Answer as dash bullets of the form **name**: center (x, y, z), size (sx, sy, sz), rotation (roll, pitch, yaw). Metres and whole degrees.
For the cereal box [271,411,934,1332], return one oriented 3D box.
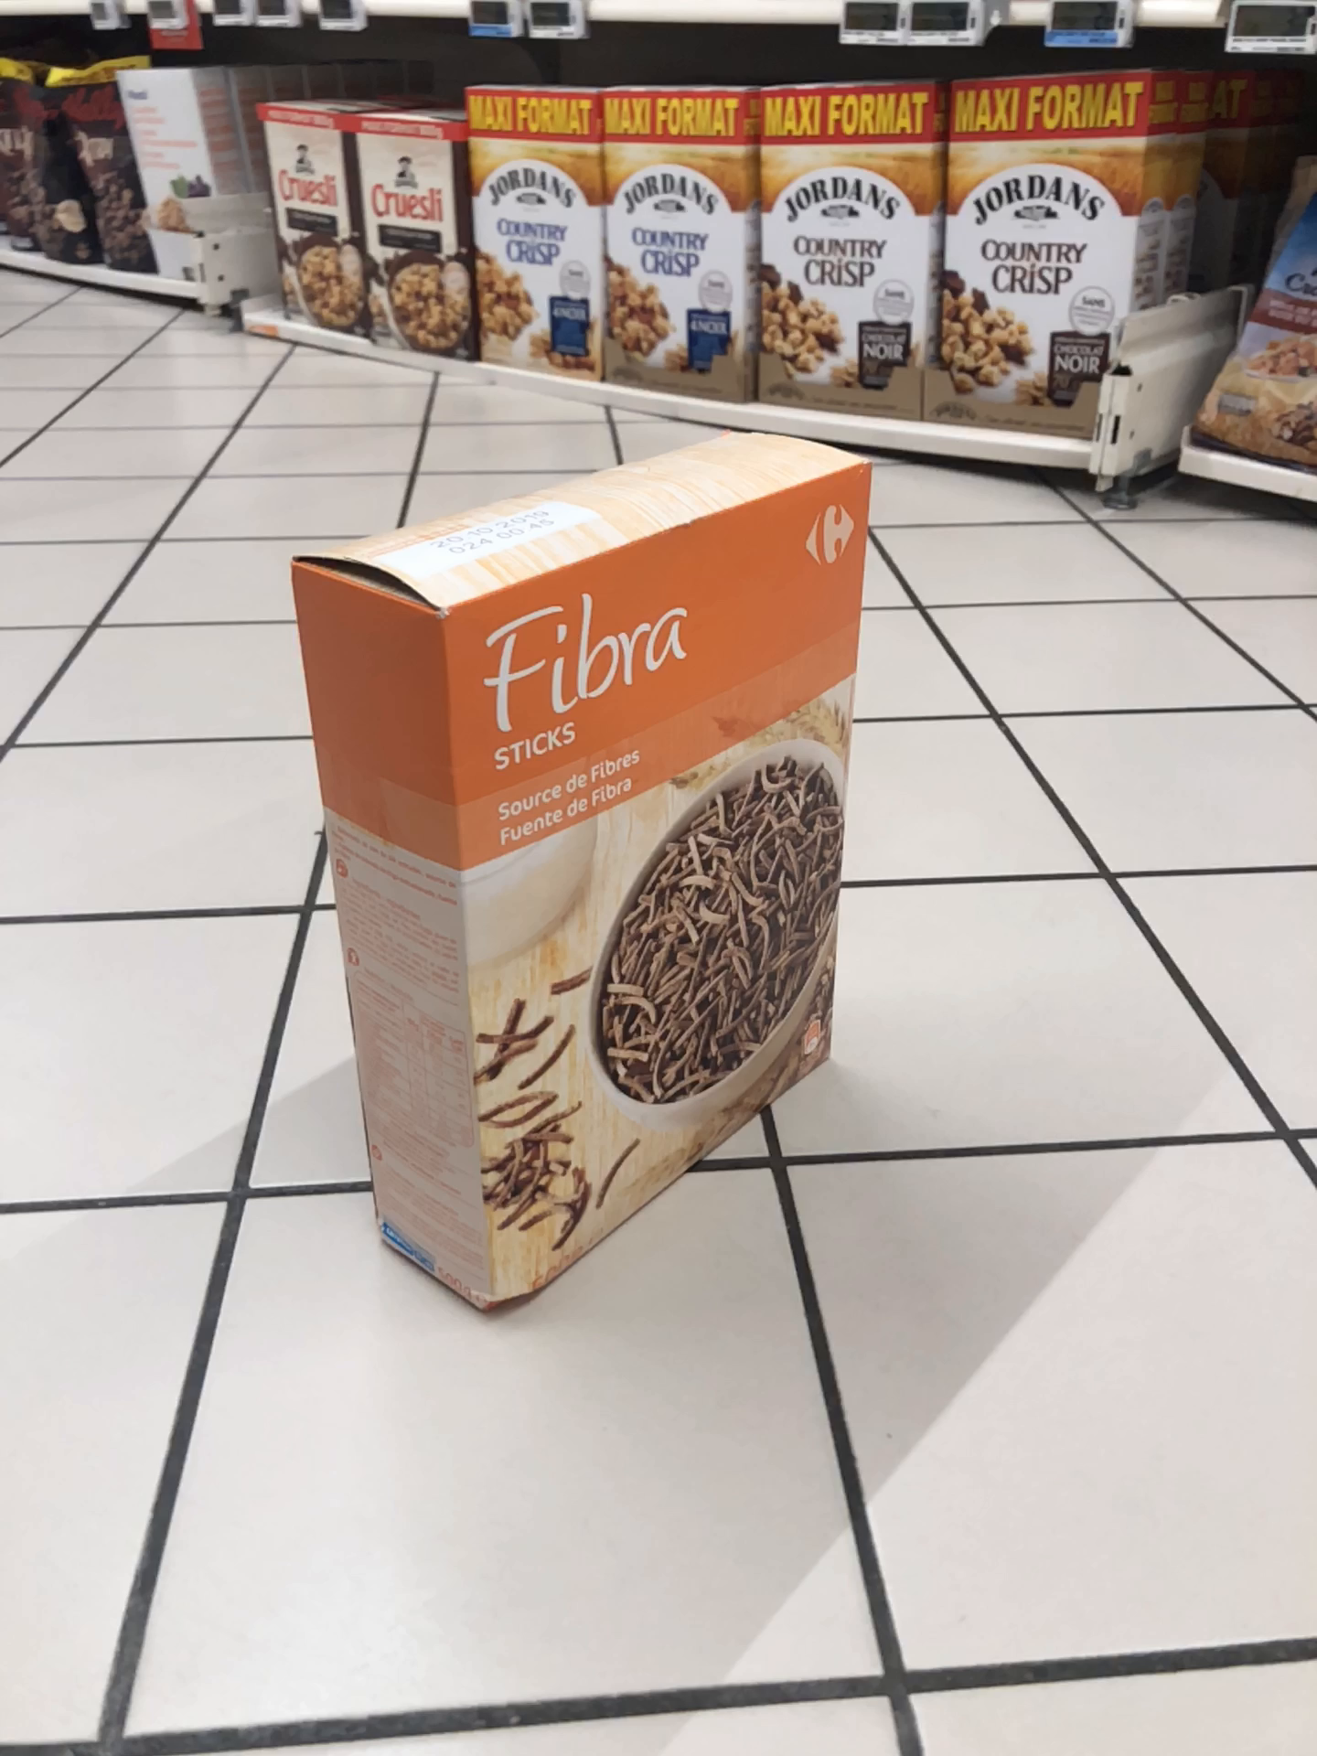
- **cereal box**: center (-0.007, -0.012, 0.485), size (0.080, 0.239, 0.201), rotation (23, 37, 35)
